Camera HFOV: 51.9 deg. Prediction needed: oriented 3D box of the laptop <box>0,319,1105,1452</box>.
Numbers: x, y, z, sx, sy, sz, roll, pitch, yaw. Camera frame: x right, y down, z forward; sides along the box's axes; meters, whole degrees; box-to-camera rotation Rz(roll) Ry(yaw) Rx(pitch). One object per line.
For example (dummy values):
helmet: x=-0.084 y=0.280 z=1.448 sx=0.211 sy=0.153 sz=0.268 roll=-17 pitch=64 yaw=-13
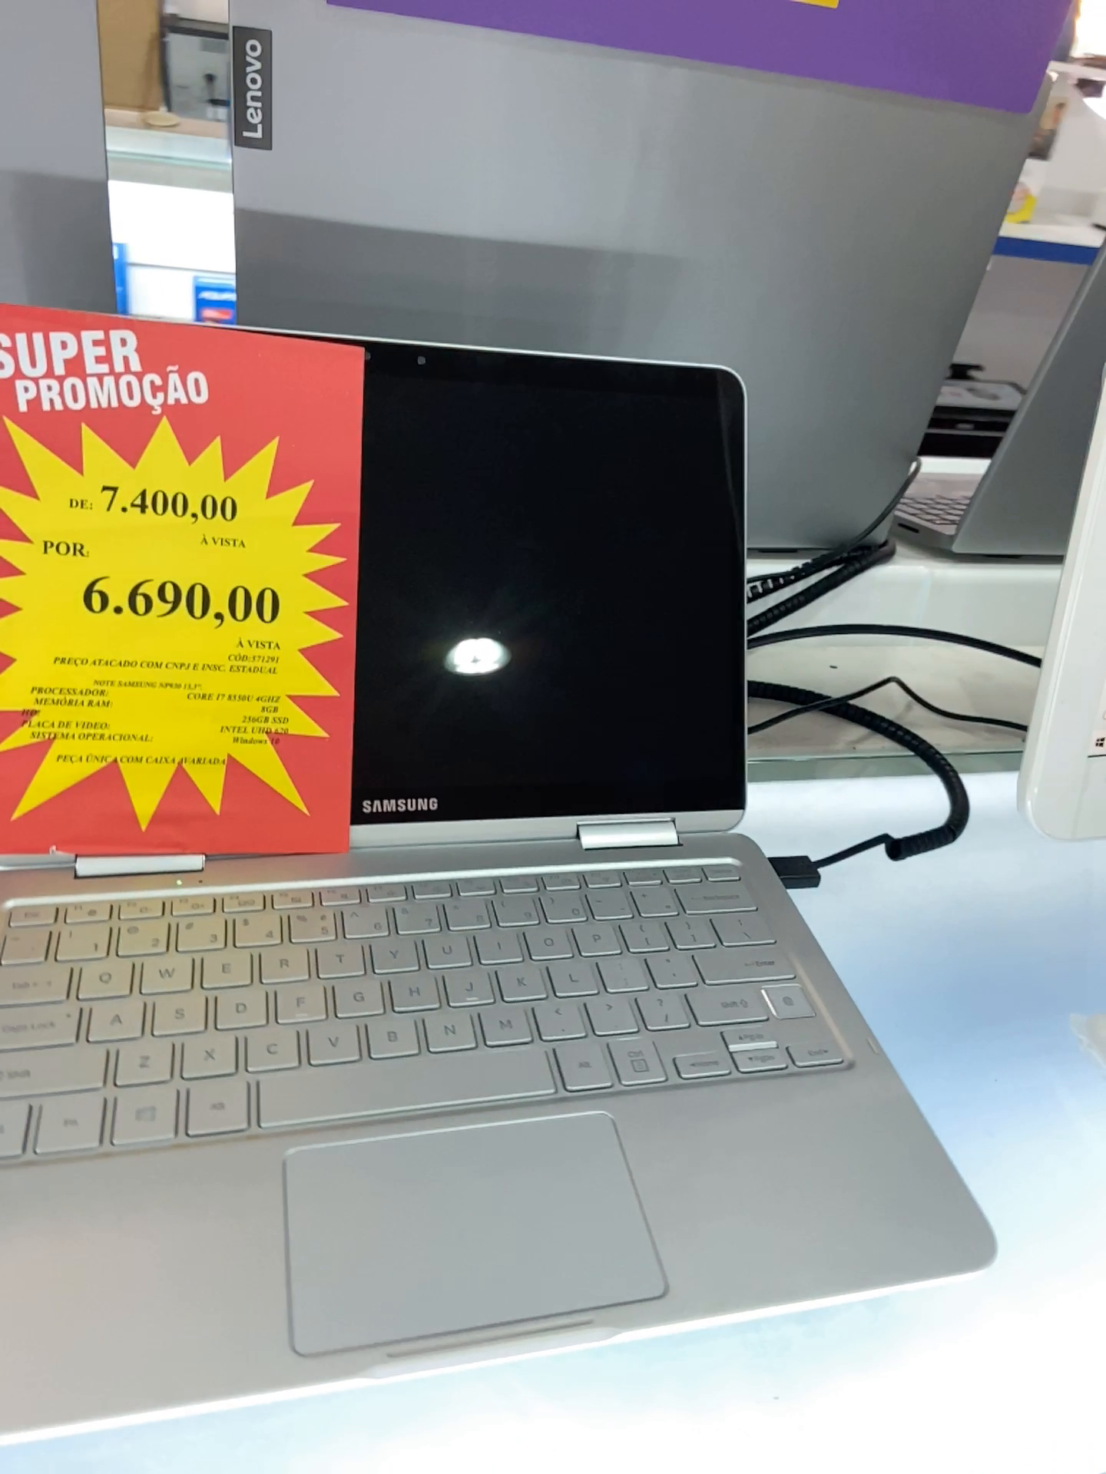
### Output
laptop: x=-0.039 y=-0.001 z=0.376 sx=0.305 sy=0.170 sz=0.311 roll=-1 pitch=33 yaw=-15
